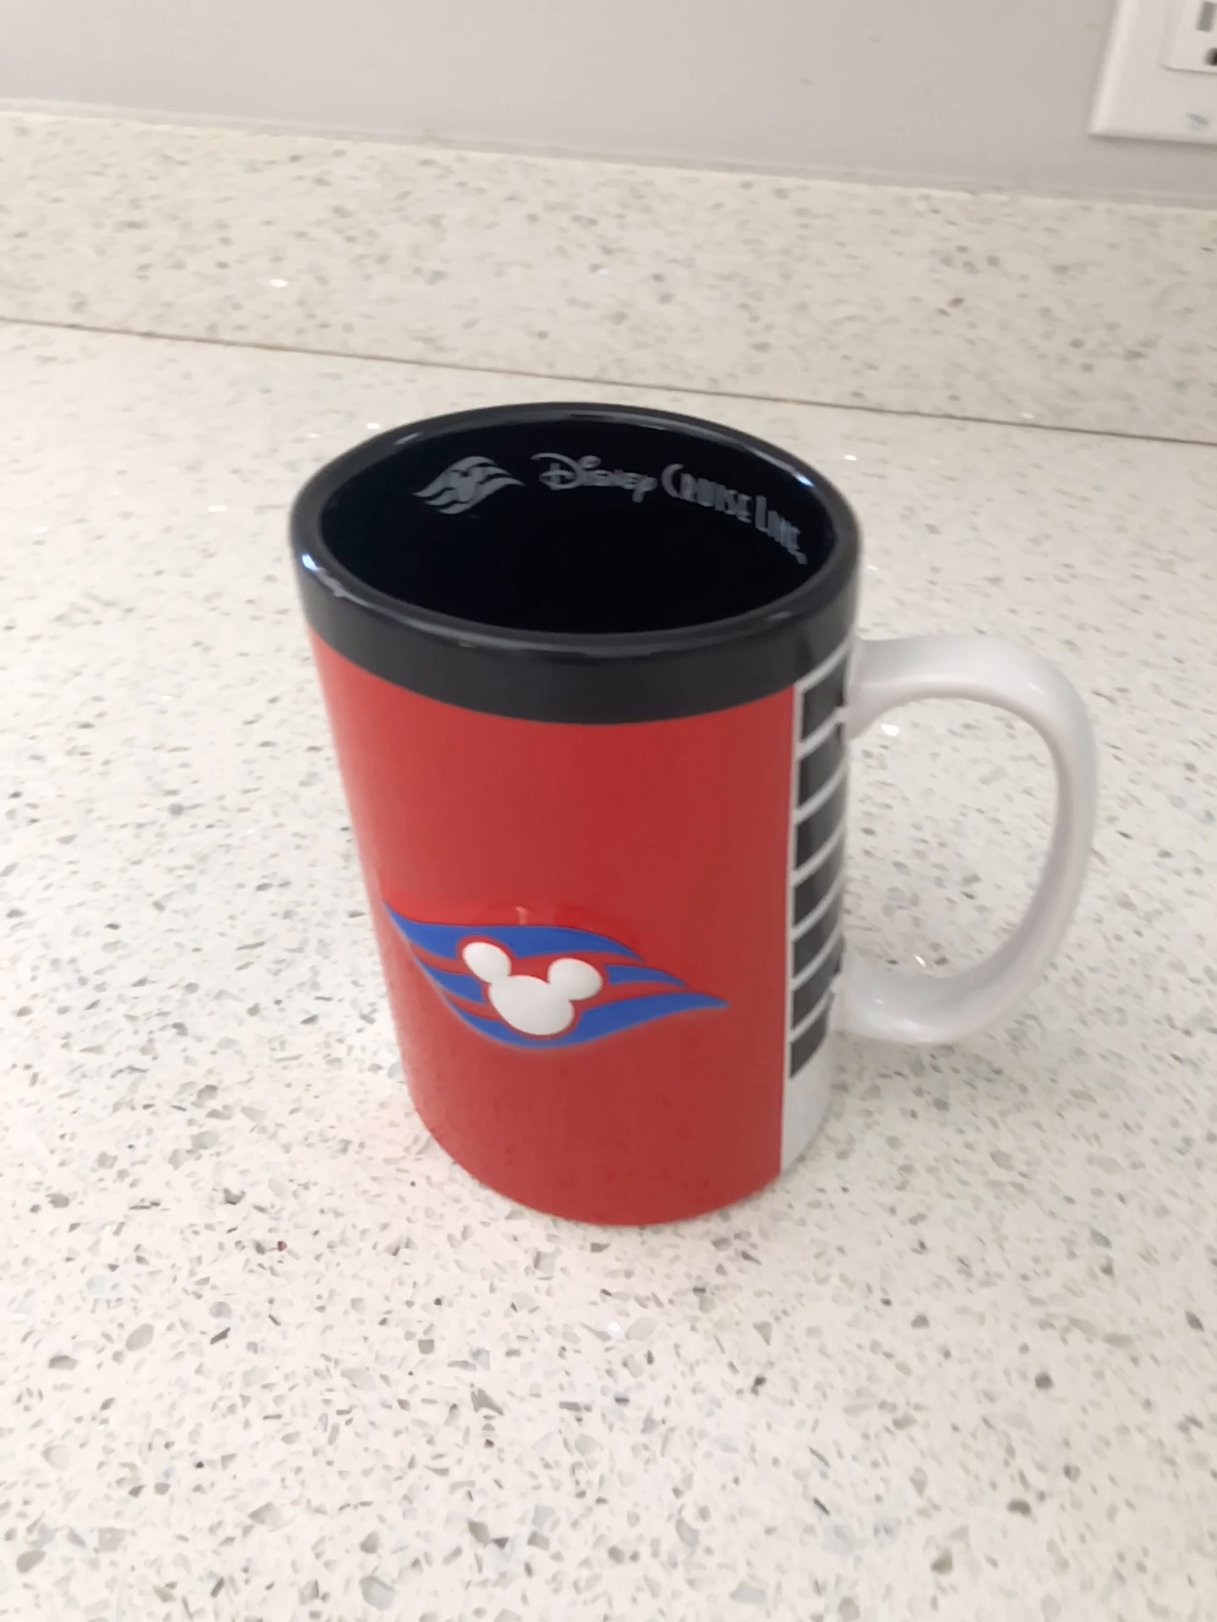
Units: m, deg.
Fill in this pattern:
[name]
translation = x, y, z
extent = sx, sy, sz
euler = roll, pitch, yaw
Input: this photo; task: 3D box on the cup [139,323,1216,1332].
[cup]
translation = 0.015, -0.003, 0.223
extent = 0.130, 0.110, 0.090
euler = 12, 38, 12
